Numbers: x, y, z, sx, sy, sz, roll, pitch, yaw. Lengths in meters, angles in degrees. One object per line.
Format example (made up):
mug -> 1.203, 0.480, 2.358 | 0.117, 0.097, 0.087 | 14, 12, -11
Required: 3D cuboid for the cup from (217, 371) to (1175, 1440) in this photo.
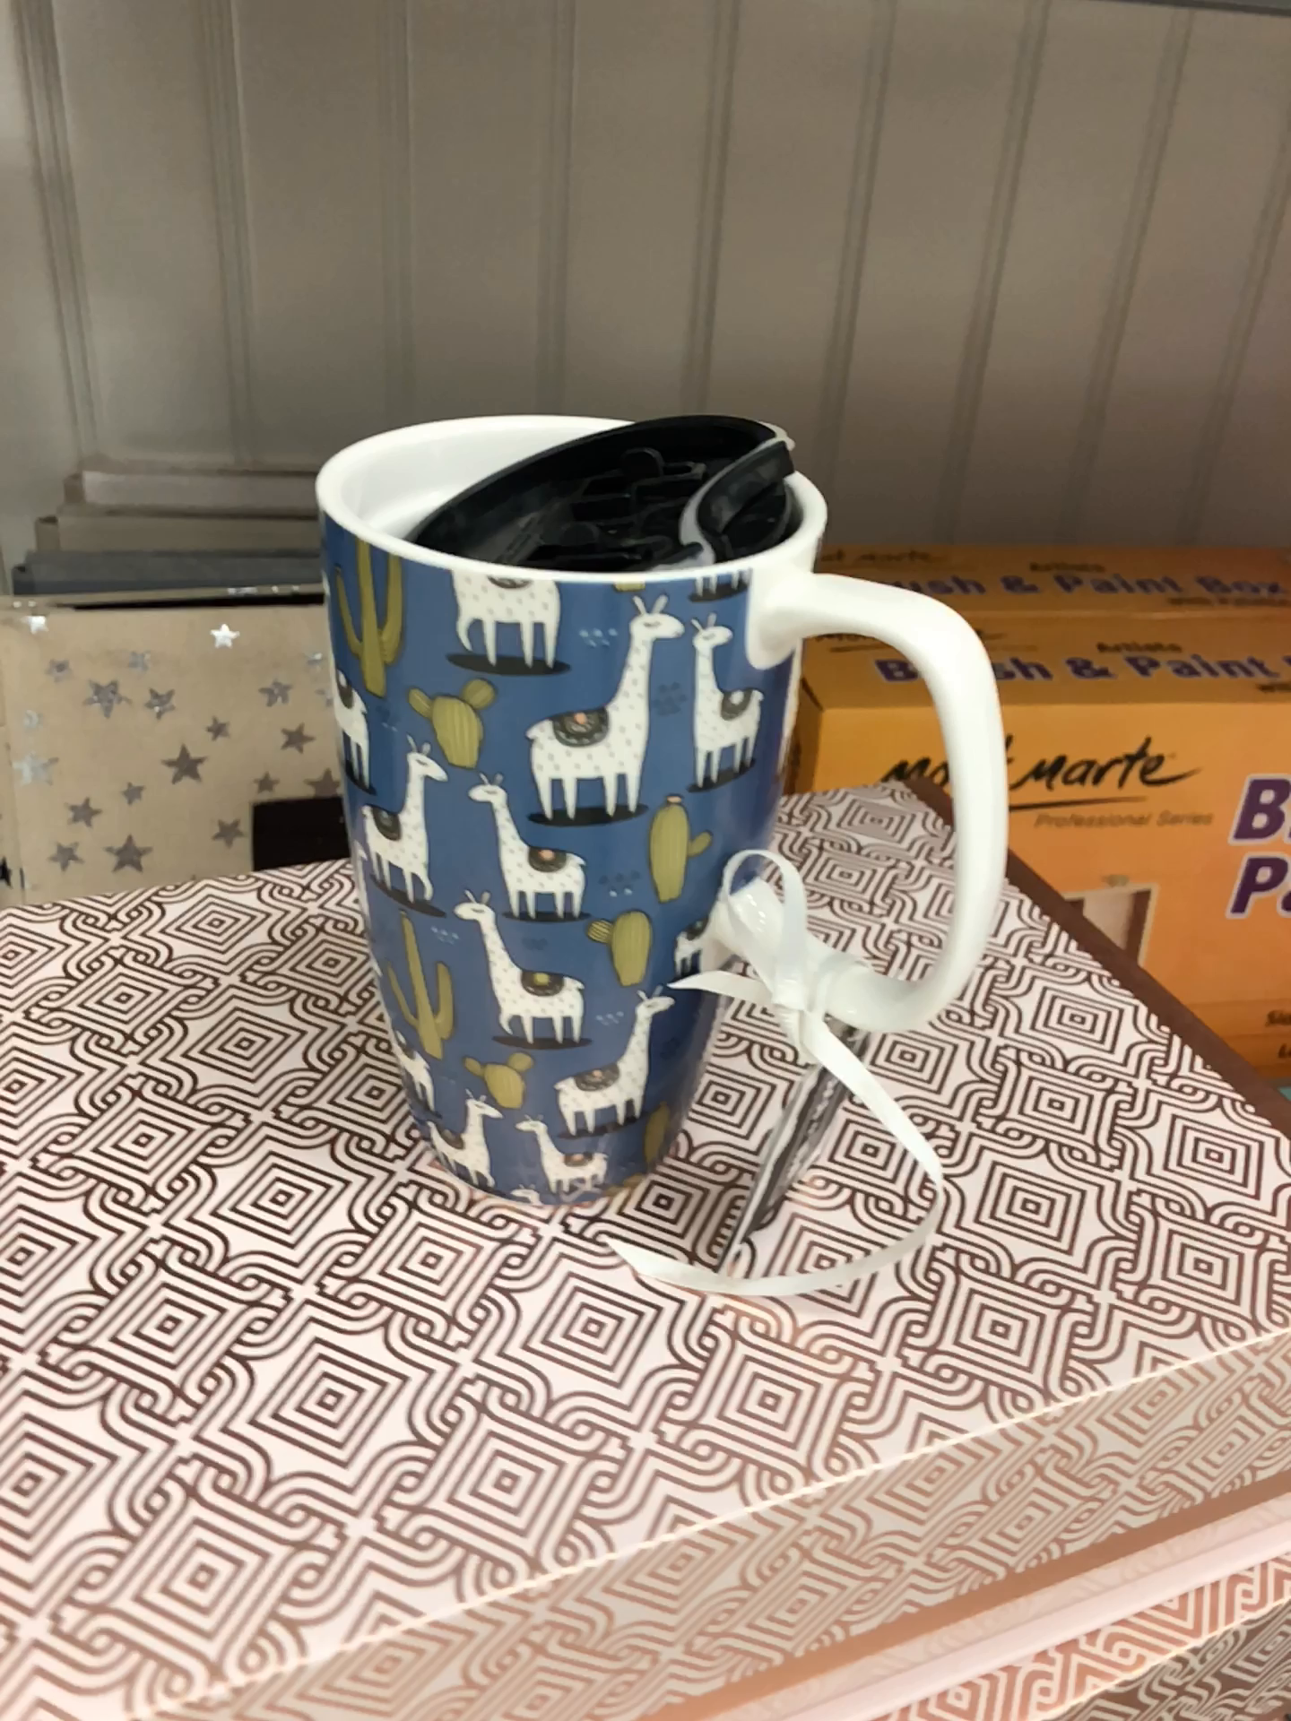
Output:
cup -> 0.007, -0.001, 0.263 | 0.125, 0.138, 0.090 | 20, 35, 24
